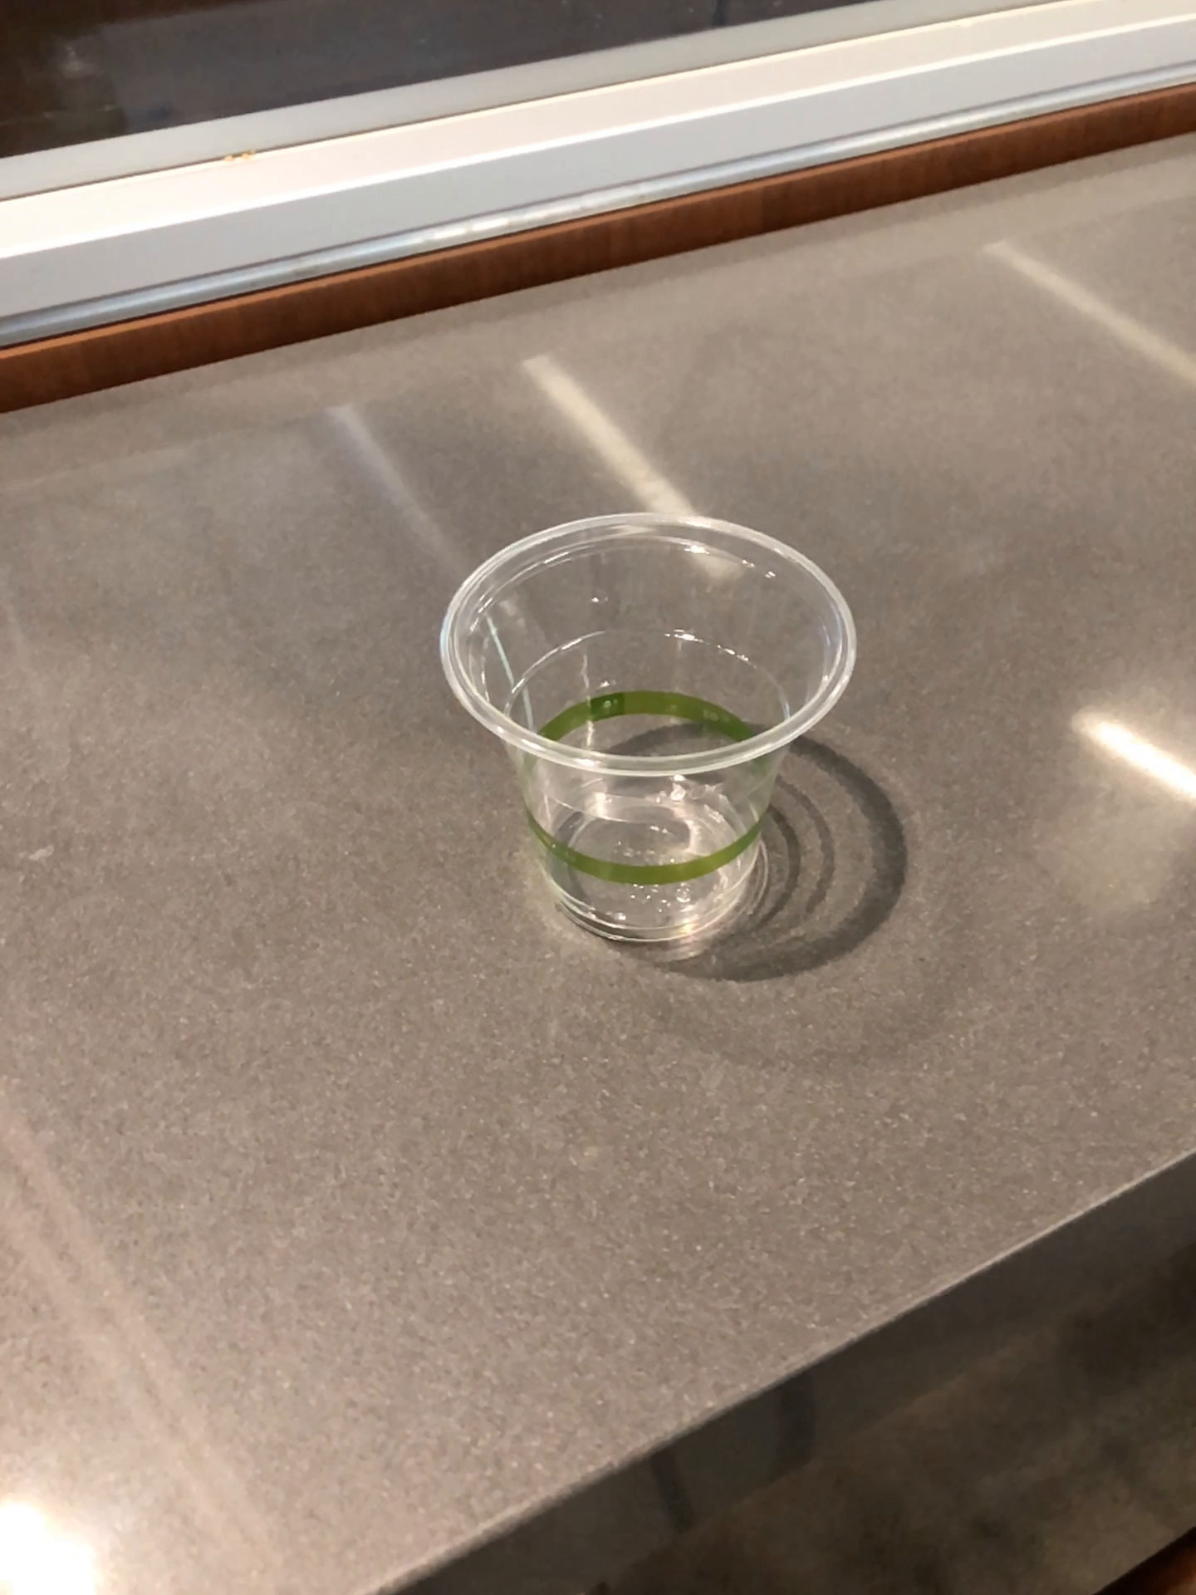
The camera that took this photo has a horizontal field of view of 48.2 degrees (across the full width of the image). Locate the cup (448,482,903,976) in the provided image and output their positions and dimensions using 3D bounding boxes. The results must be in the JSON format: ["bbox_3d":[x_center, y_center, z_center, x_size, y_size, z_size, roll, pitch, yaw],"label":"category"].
[{"bbox_3d":[0.013,-0.014,0.252,0.070,0.060,0.070,-1,43,1],"label":"cup"}]
